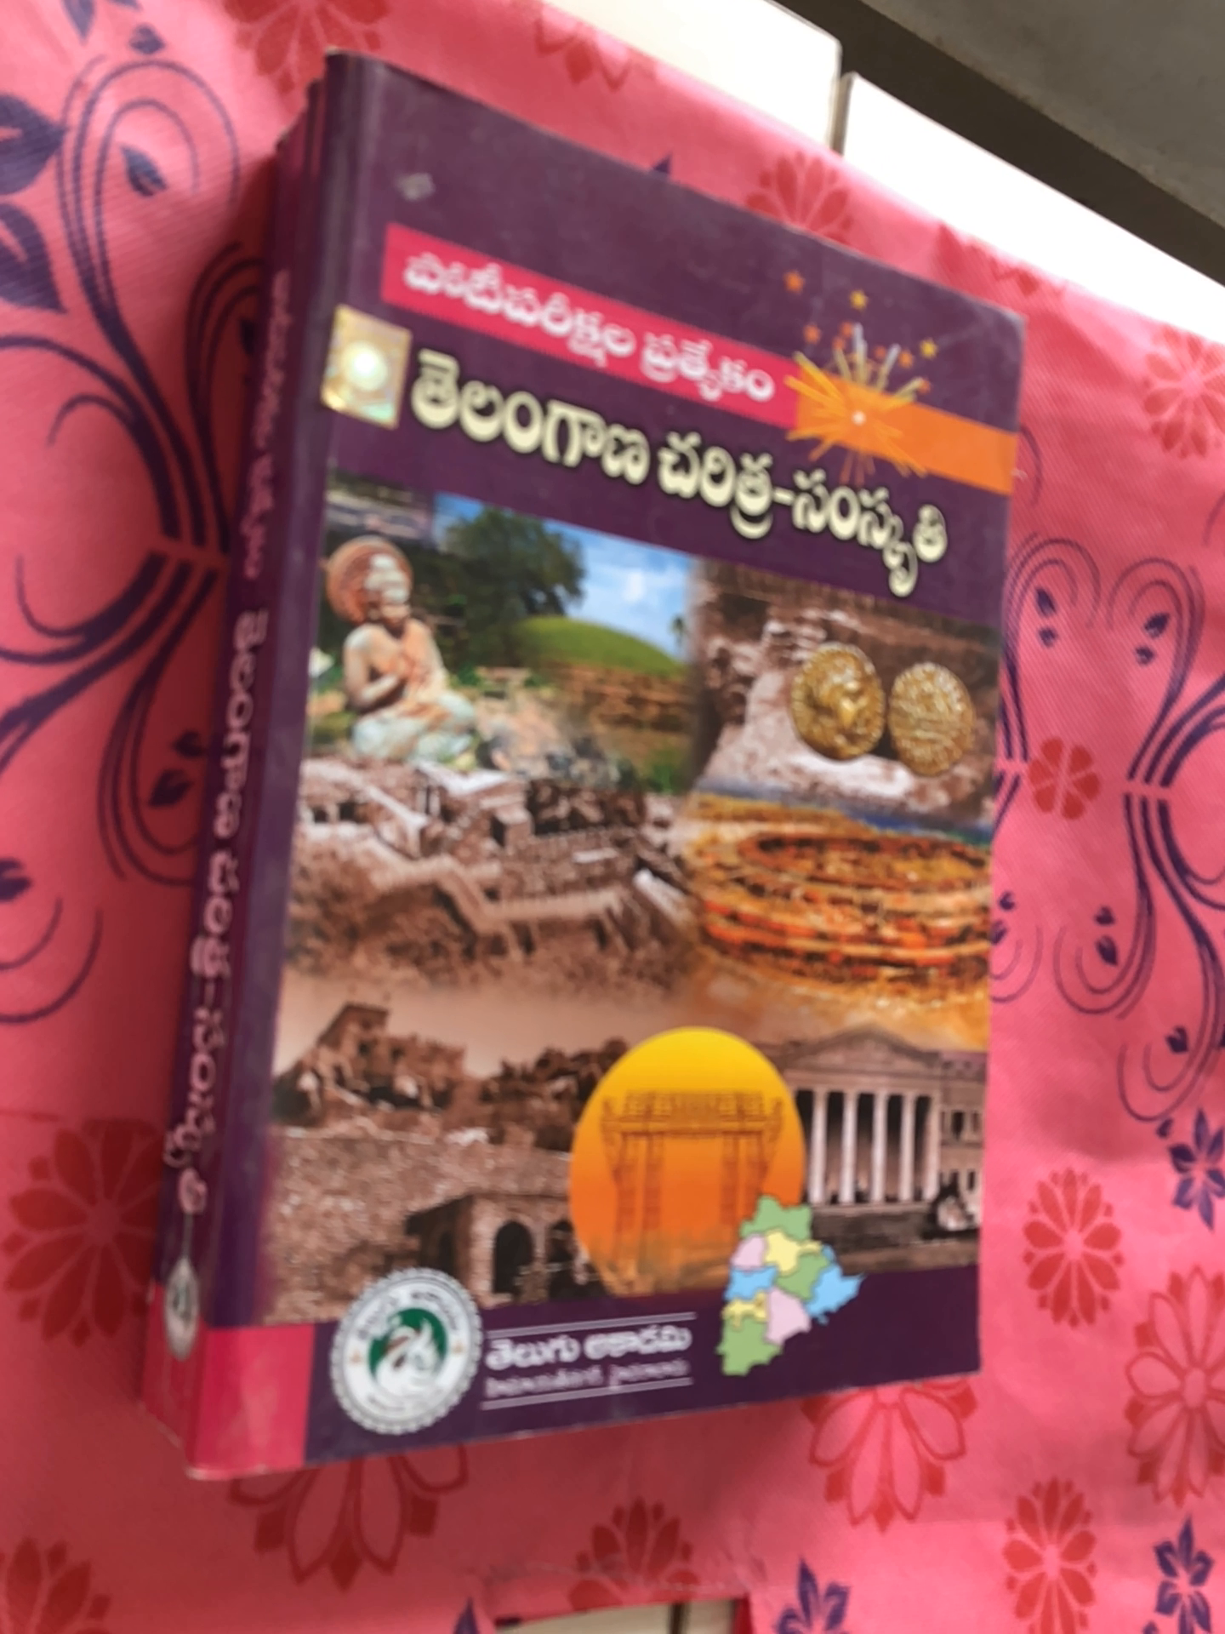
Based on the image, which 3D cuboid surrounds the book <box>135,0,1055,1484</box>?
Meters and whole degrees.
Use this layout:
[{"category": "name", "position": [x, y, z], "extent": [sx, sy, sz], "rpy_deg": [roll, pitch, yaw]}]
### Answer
[{"category": "book", "position": [0.011, -0.013, 0.314], "extent": [0.201, 0.050, 0.280], "rpy_deg": [7, 83, -29]}]
